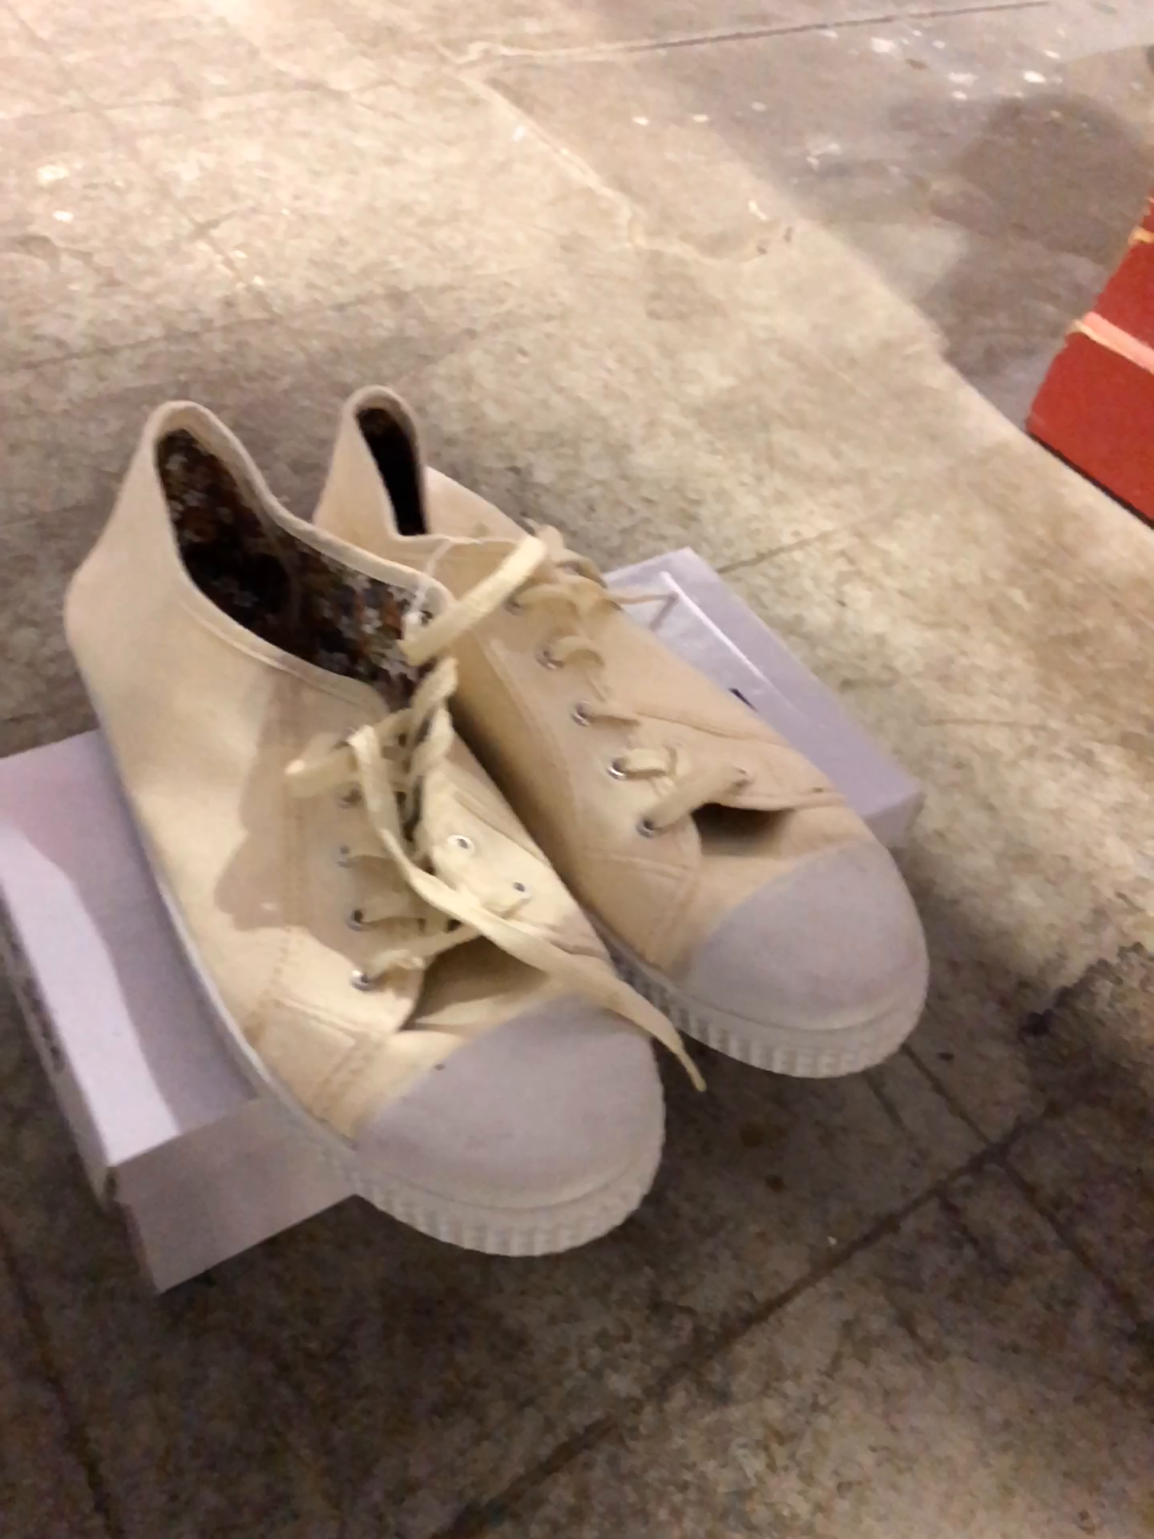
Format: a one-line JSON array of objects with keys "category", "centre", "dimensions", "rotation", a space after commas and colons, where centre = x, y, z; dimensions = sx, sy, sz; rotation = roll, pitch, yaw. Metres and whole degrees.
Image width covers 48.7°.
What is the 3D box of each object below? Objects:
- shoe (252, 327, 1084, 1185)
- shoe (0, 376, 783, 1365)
[{"category": "shoe", "centre": [0.007, -0.023, 0.377], "dimensions": [0.100, 0.079, 0.251], "rotation": [-23, 56, -27]}, {"category": "shoe", "centre": [-0.071, 0.006, 0.344], "dimensions": [0.090, 0.079, 0.261], "rotation": [-23, 56, -27]}]
